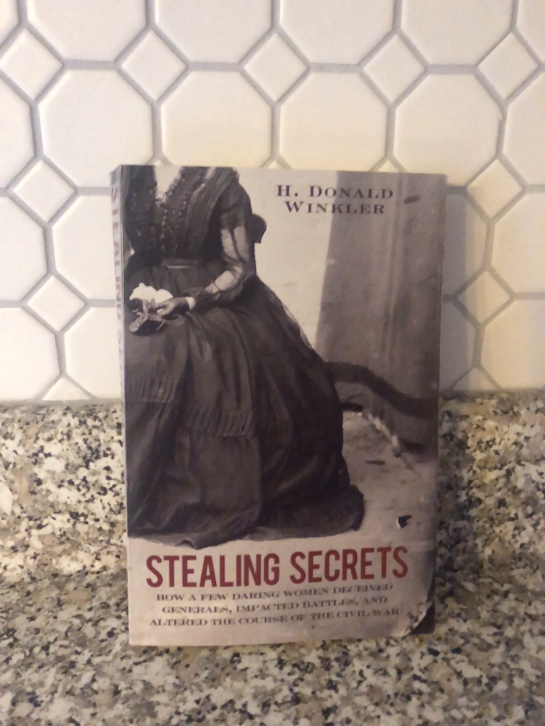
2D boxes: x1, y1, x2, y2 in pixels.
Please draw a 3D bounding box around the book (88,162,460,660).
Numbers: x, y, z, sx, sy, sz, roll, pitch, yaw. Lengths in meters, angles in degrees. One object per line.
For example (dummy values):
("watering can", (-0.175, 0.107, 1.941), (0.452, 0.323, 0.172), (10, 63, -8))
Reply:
("book", (0.003, 0.023, 0.295), (0.161, 0.226, 0.041), (-1, 7, -3))
